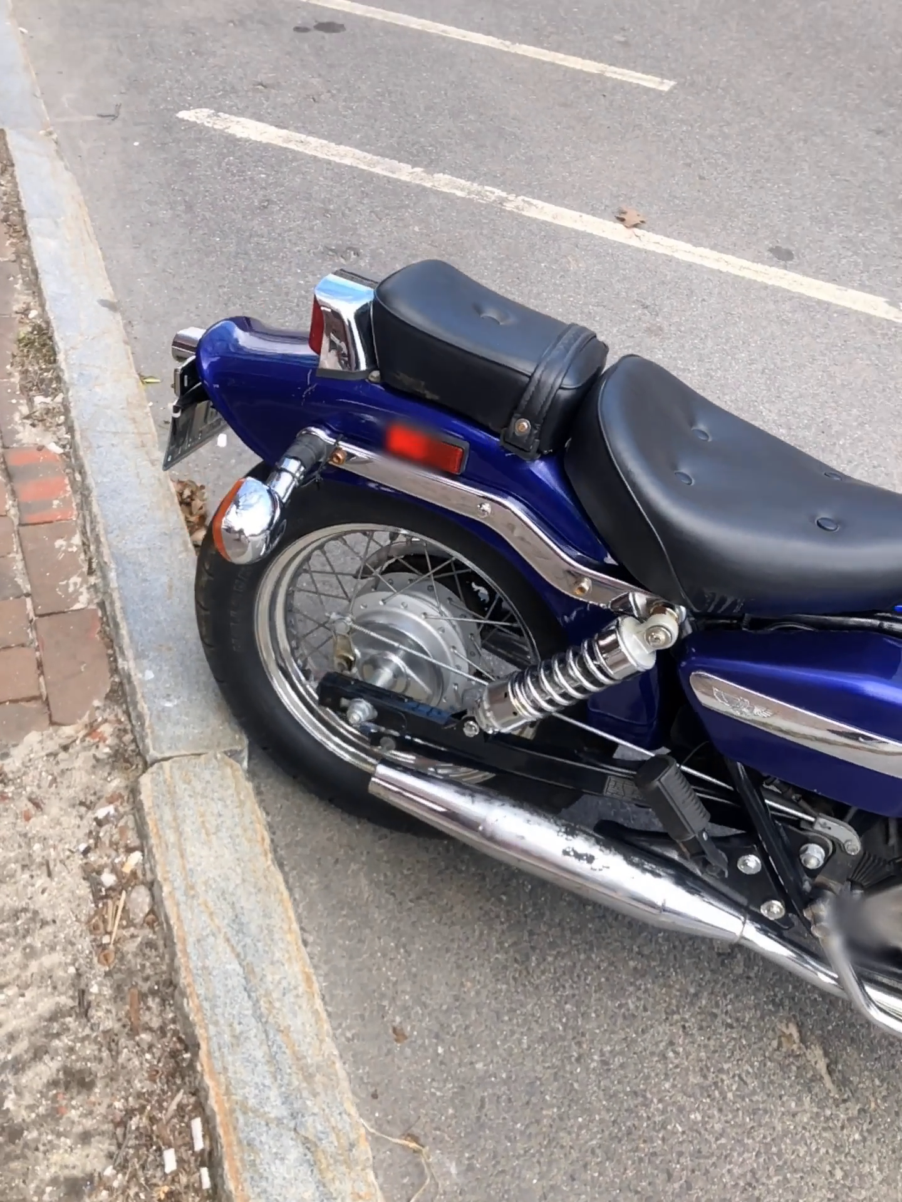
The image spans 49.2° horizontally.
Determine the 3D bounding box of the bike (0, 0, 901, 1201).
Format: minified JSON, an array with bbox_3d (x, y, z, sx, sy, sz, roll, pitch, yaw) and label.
[{"bbox_3d":[0.678,-0.032,1.029,1.906,1.037,0.793,16,45,11],"label":"bike"}]
